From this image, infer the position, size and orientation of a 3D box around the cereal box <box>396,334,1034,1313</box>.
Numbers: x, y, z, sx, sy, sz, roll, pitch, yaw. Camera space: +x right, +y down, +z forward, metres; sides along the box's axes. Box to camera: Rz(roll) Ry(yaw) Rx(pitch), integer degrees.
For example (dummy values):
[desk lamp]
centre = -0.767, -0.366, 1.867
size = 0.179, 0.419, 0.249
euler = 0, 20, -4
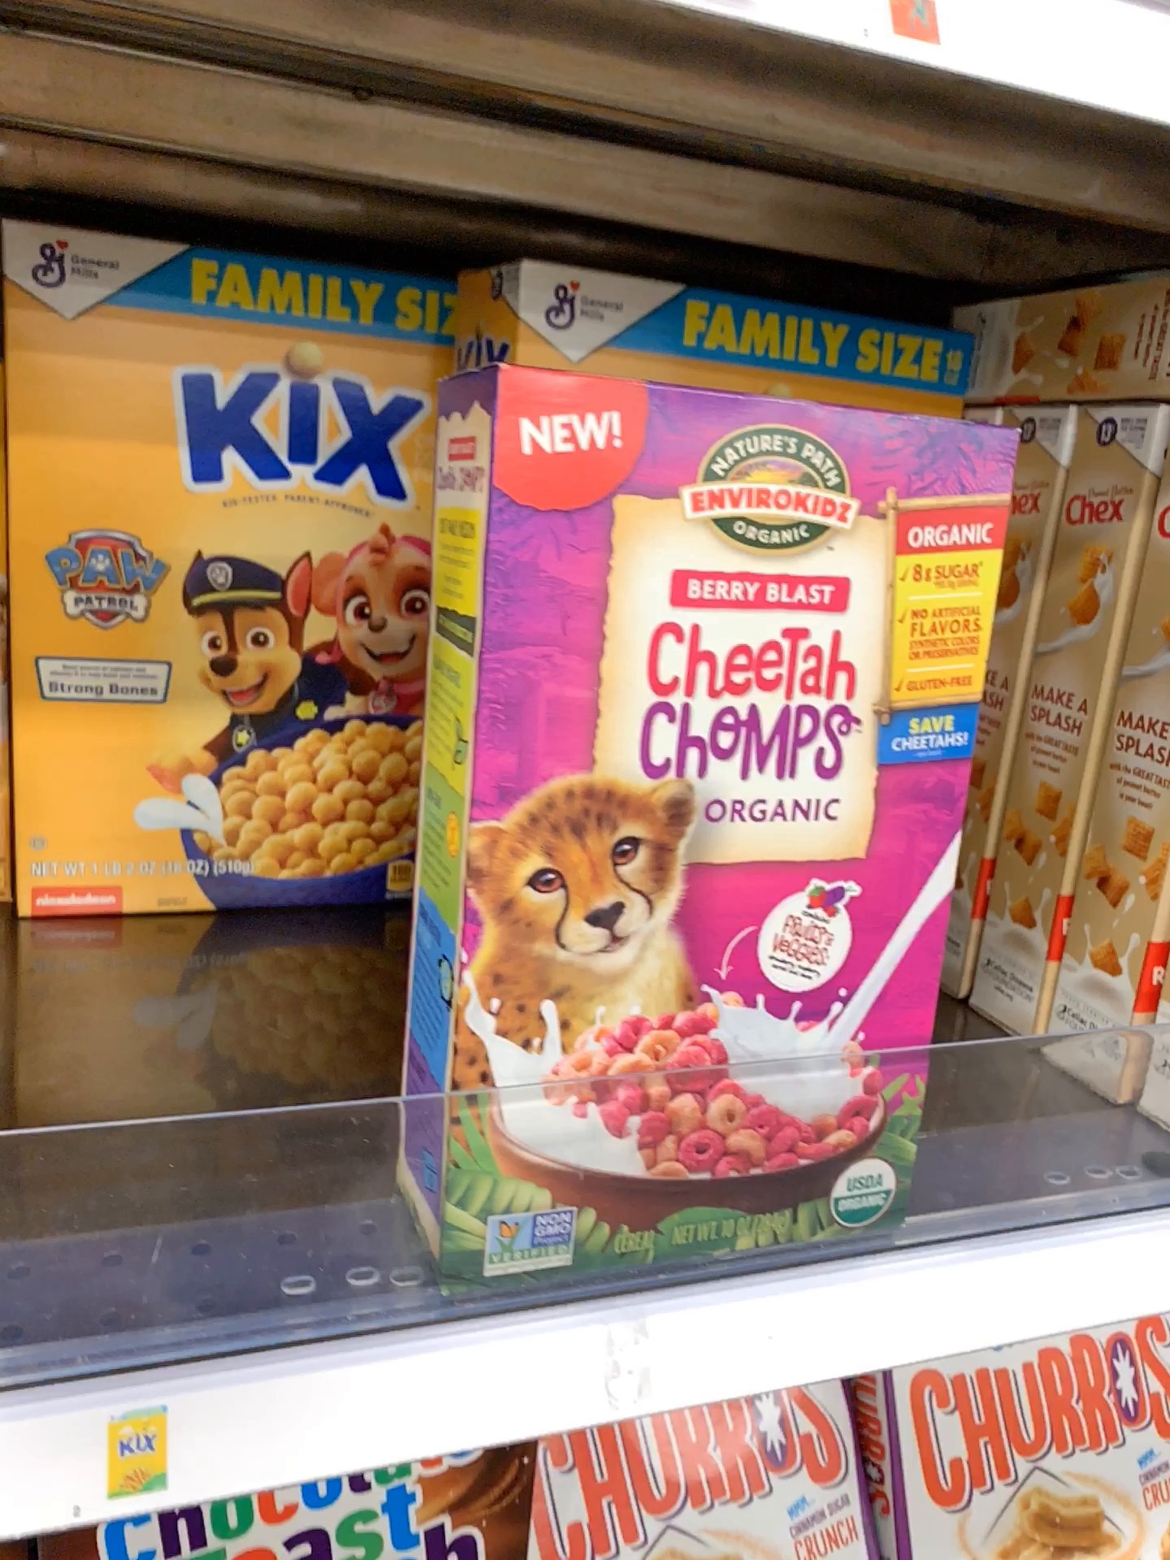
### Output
[cereal box]
centre = 0.033, 0.016, 0.377
size = 0.160, 0.269, 0.060
euler = 1, 12, -19
